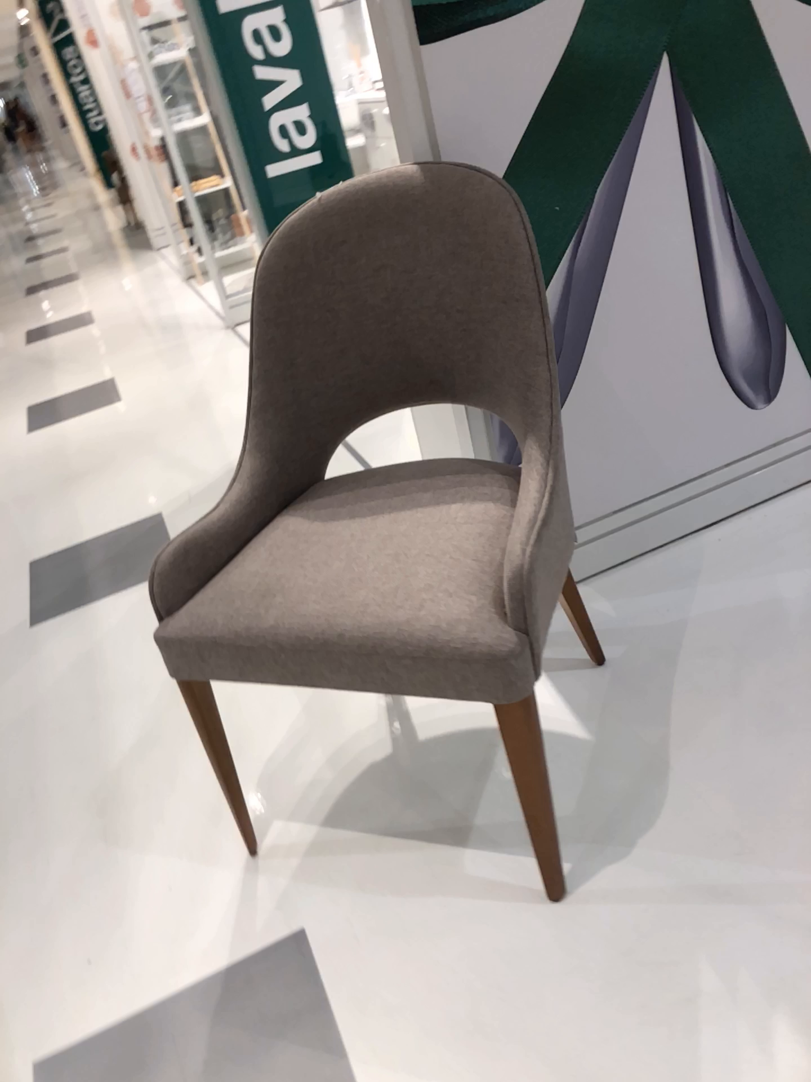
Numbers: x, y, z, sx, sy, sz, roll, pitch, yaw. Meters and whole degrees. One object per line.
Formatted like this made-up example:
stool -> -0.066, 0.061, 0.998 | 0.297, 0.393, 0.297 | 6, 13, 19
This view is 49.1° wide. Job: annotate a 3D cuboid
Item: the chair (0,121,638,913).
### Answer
chair -> -0.030, -0.042, 1.338 | 0.570, 0.893, 0.614 | 0, 32, 25
